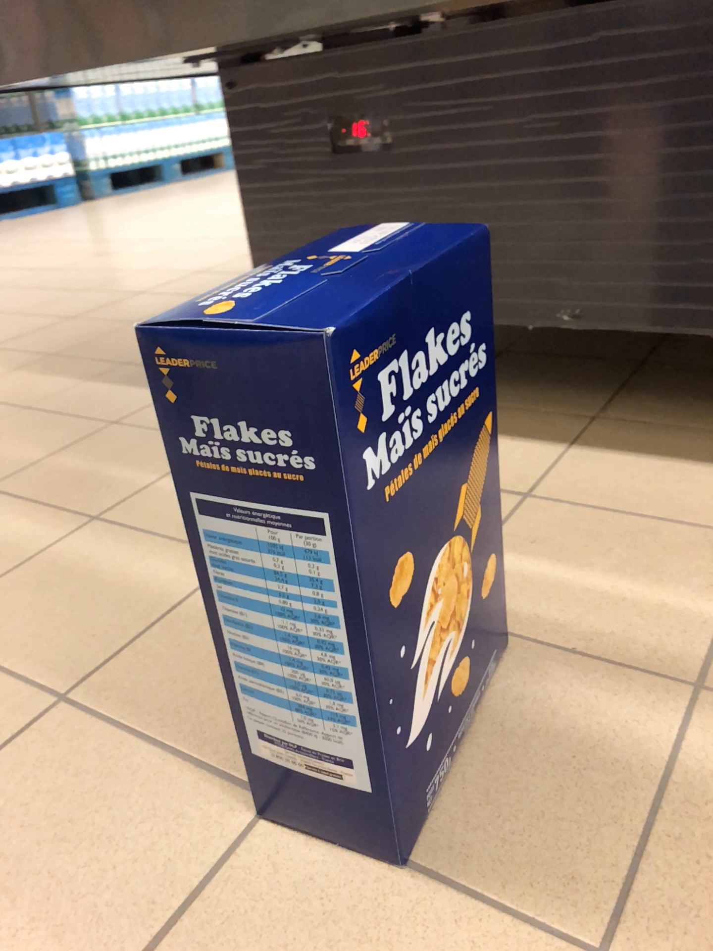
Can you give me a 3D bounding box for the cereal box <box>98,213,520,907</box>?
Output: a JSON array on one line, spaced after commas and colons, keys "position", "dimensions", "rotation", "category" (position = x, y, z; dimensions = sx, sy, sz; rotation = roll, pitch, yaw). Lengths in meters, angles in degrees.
[{"position": [0.006, 0.032, 0.445], "dimensions": [0.100, 0.308, 0.211], "rotation": [7, 28, 28], "category": "cereal box"}]
